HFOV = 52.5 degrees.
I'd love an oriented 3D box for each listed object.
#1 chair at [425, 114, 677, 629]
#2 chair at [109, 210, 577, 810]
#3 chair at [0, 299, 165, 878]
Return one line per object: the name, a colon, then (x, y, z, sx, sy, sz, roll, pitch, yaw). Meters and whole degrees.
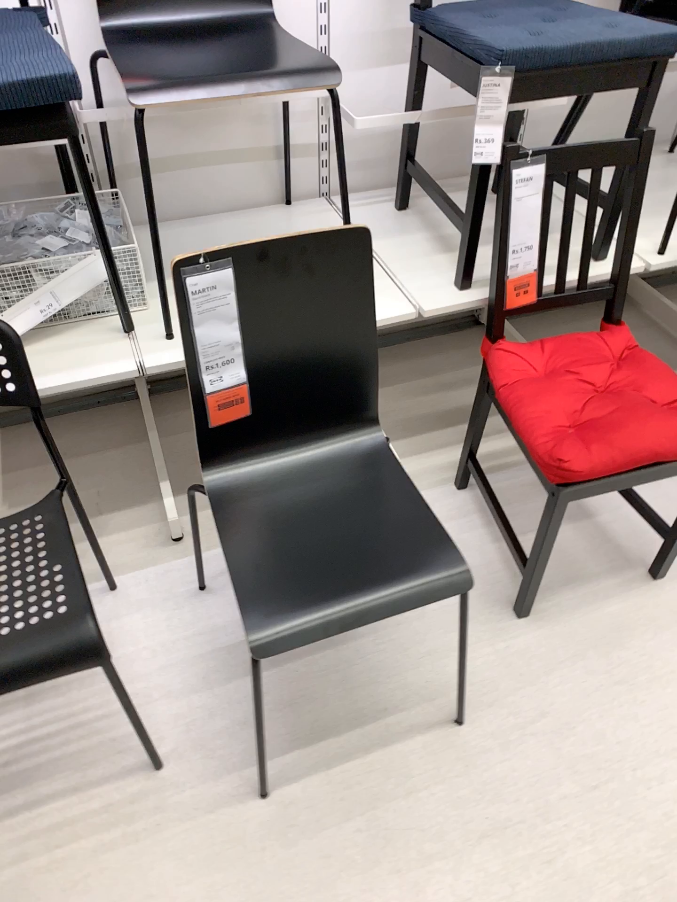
chair: (0.523, -0.133, 1.401, 0.450, 0.857, 0.482, -13, 46, -14)
chair: (-0.046, 0.118, 1.247, 0.480, 0.827, 0.592, -14, 46, -15)
chair: (-0.636, 0.237, 1.160, 0.470, 0.727, 0.532, -14, 46, -15)
